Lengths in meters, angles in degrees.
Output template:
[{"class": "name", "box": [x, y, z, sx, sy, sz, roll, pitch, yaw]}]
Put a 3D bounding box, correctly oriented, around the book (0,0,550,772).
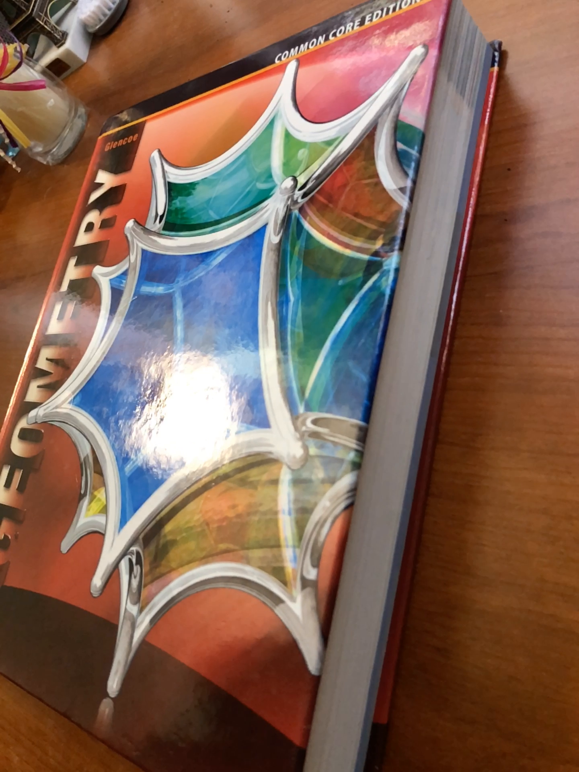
[{"class": "book", "box": [-0.032, -0.021, 0.283, 0.230, 0.050, 0.310, 2, 72, 41]}]
